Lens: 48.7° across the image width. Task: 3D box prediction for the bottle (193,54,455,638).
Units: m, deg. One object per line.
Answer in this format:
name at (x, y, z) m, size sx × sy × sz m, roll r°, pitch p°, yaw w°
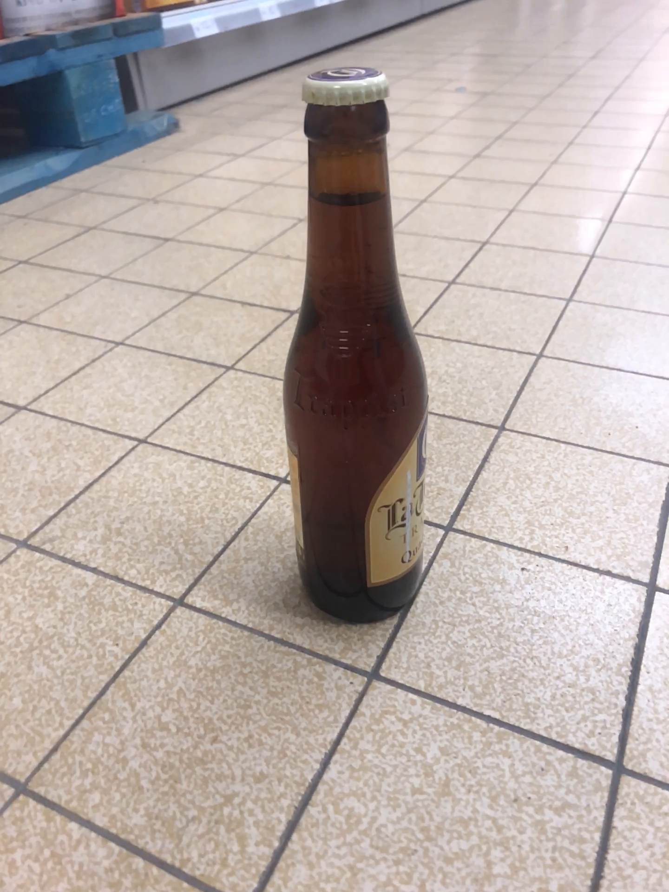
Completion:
bottle at (0.005, -0.028, 0.295) m, size 0.070 × 0.219 × 0.070 m, roll -2°, pitch 35°, yaw 1°
